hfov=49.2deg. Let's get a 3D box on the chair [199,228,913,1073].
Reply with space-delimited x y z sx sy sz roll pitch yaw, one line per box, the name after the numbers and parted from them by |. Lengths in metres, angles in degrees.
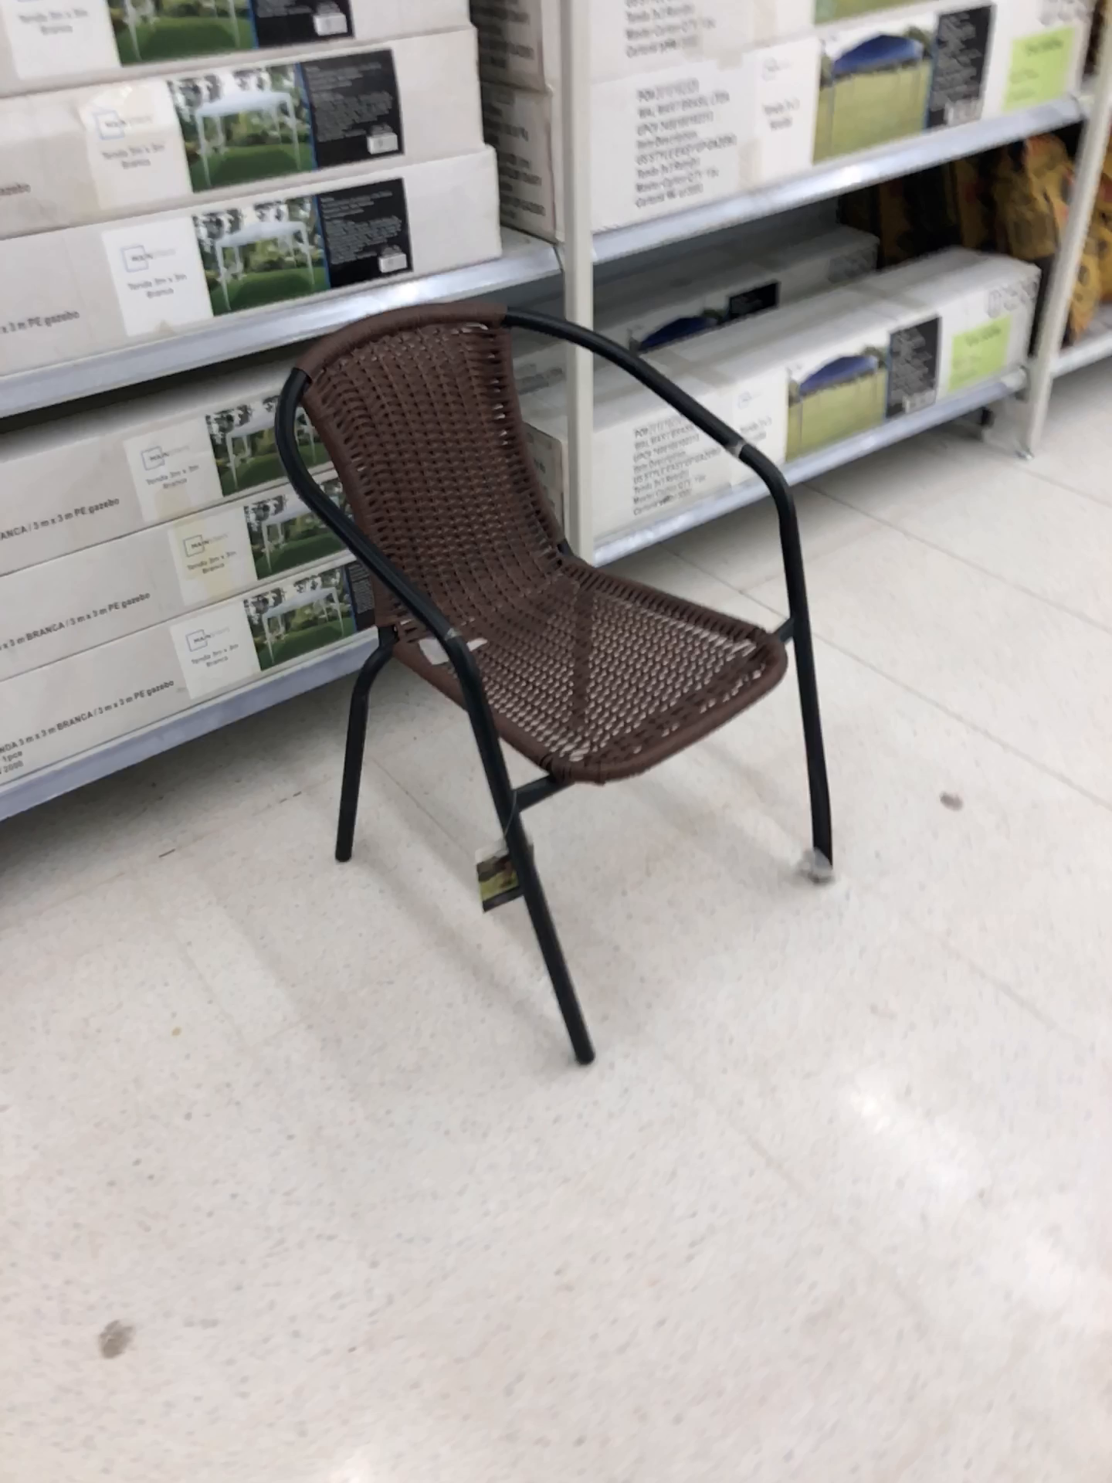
0.007 -0.130 1.433 0.482 0.715 0.532 -33 47 -33 | chair
